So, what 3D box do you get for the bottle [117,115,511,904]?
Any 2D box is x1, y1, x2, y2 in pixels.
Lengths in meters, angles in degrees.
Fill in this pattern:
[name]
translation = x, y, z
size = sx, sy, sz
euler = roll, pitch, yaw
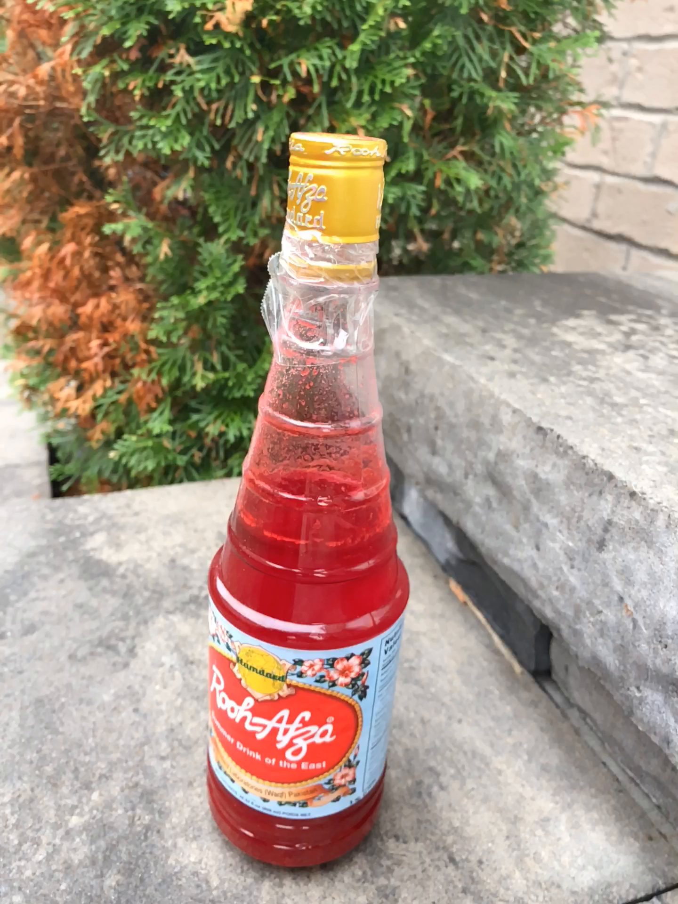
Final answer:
[bottle]
translation = -0.014, 0.029, 0.288
size = 0.090, 0.279, 0.080
euler = 17, 28, 24
